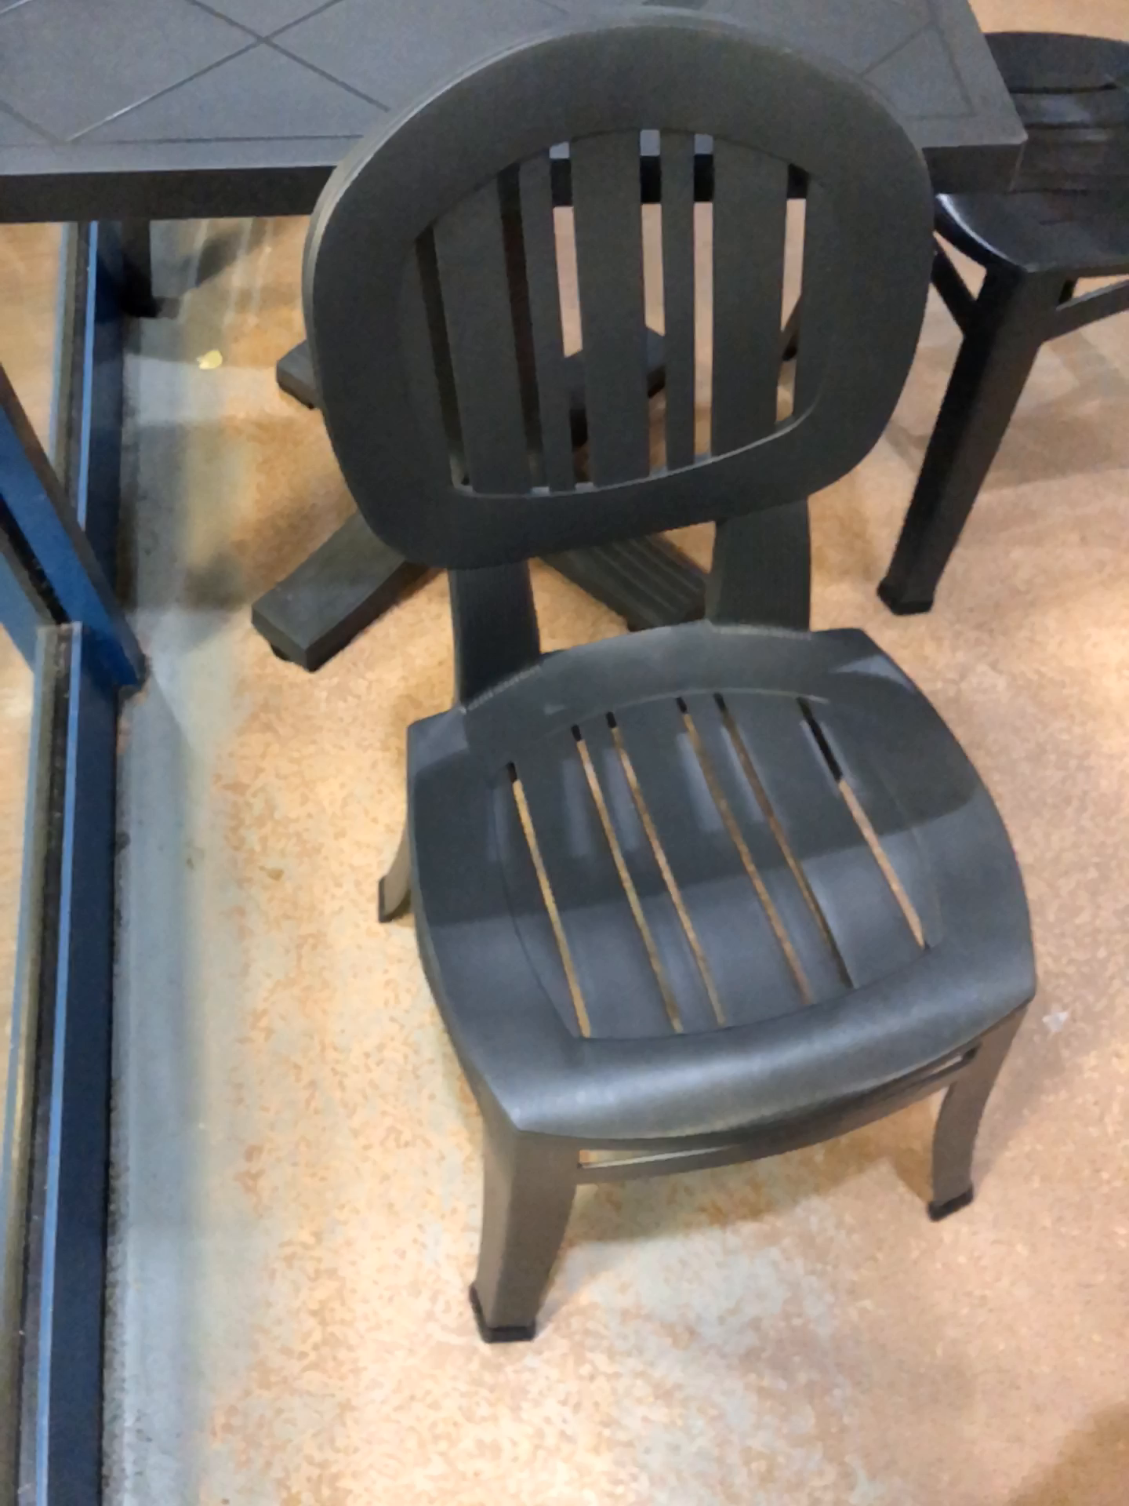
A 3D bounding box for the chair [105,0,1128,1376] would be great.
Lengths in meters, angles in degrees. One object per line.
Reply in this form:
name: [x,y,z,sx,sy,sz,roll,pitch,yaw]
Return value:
chair: [0.095,-0.009,0.780,0.500,0.736,0.553,-12,59,-7]
